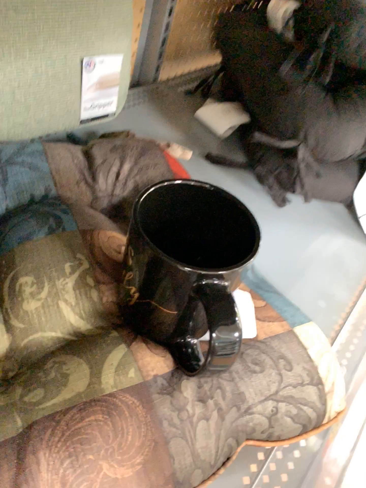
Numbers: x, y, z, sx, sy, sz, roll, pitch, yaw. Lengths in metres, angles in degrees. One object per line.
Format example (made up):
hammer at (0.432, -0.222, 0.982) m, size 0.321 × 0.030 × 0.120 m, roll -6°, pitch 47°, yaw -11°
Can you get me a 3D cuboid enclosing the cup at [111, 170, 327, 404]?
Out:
cup at (0.010, 0.025, 0.283) m, size 0.100 × 0.099 × 0.131 m, roll -1°, pitch 42°, yaw -21°
